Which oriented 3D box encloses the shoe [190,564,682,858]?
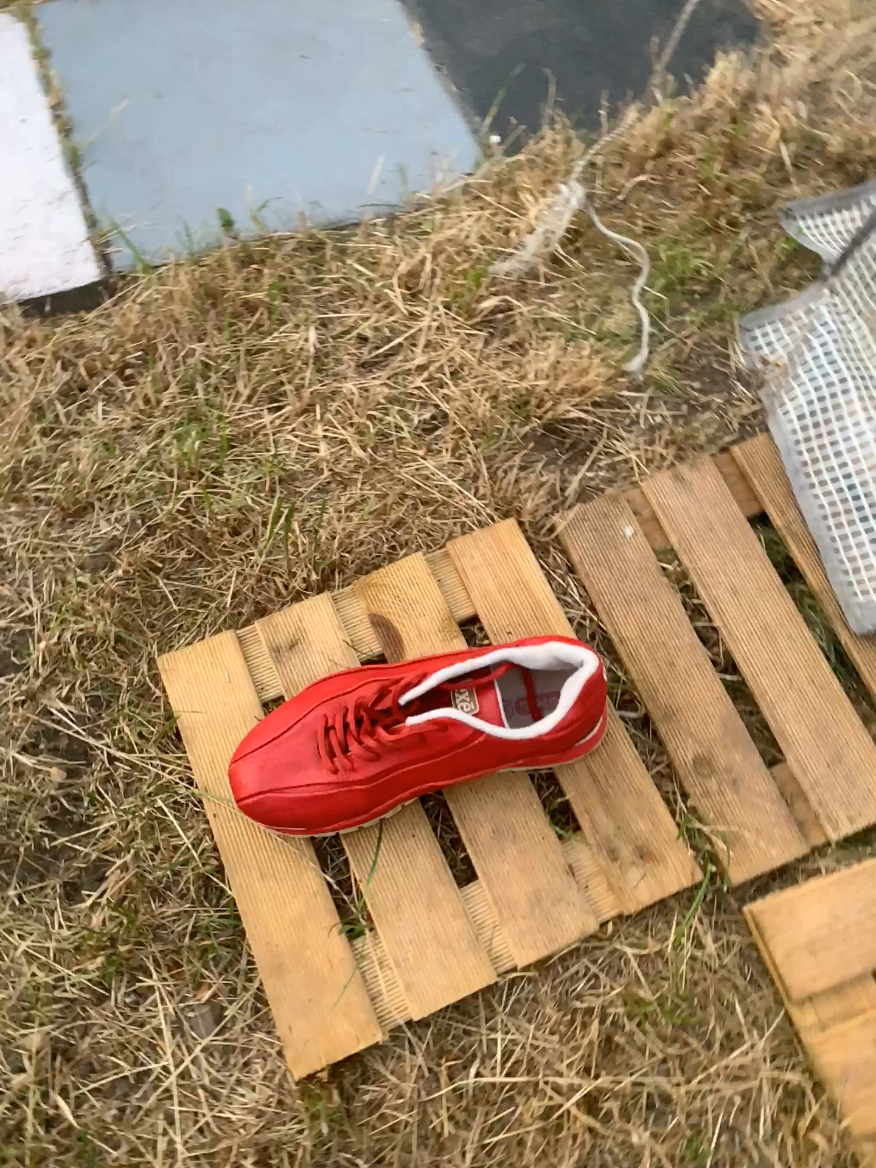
[{"bbox_3d":[-0.005,0.087,0.593,0.280,0.129,0.100,-12,68,-11],"label":"shoe"}]
